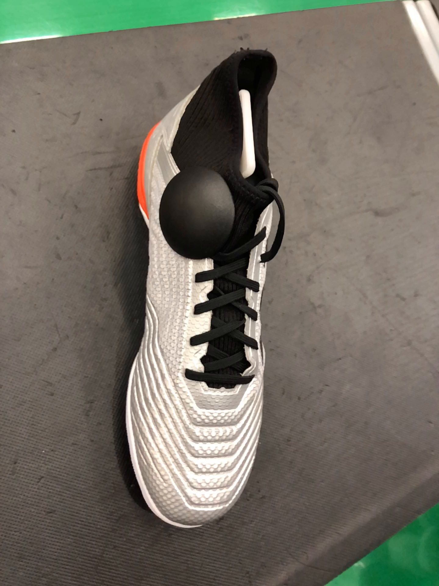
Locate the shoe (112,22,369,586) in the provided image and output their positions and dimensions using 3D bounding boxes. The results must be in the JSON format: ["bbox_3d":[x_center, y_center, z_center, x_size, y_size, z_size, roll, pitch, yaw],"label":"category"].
[{"bbox_3d":[-0.003,0.008,0.290,0.090,0.139,0.250,4,77,-22],"label":"shoe"}]
